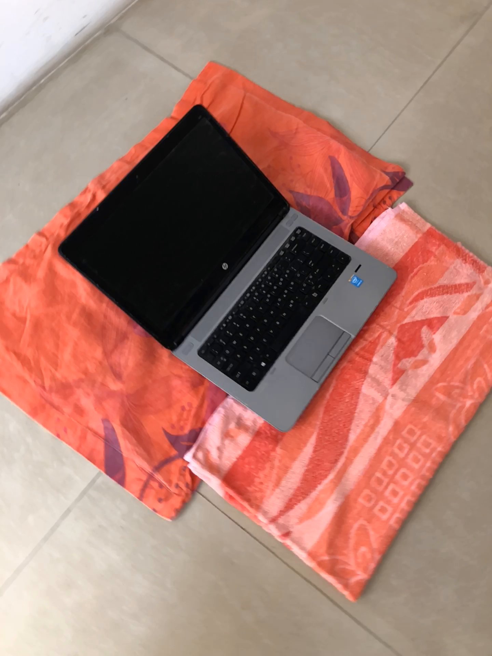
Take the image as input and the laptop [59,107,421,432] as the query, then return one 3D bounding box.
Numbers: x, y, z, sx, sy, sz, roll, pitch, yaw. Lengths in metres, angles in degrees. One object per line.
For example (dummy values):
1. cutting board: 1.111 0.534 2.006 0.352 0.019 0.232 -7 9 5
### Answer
1. laptop: -0.008 -0.102 0.839 0.410 0.111 0.329 35 72 12
